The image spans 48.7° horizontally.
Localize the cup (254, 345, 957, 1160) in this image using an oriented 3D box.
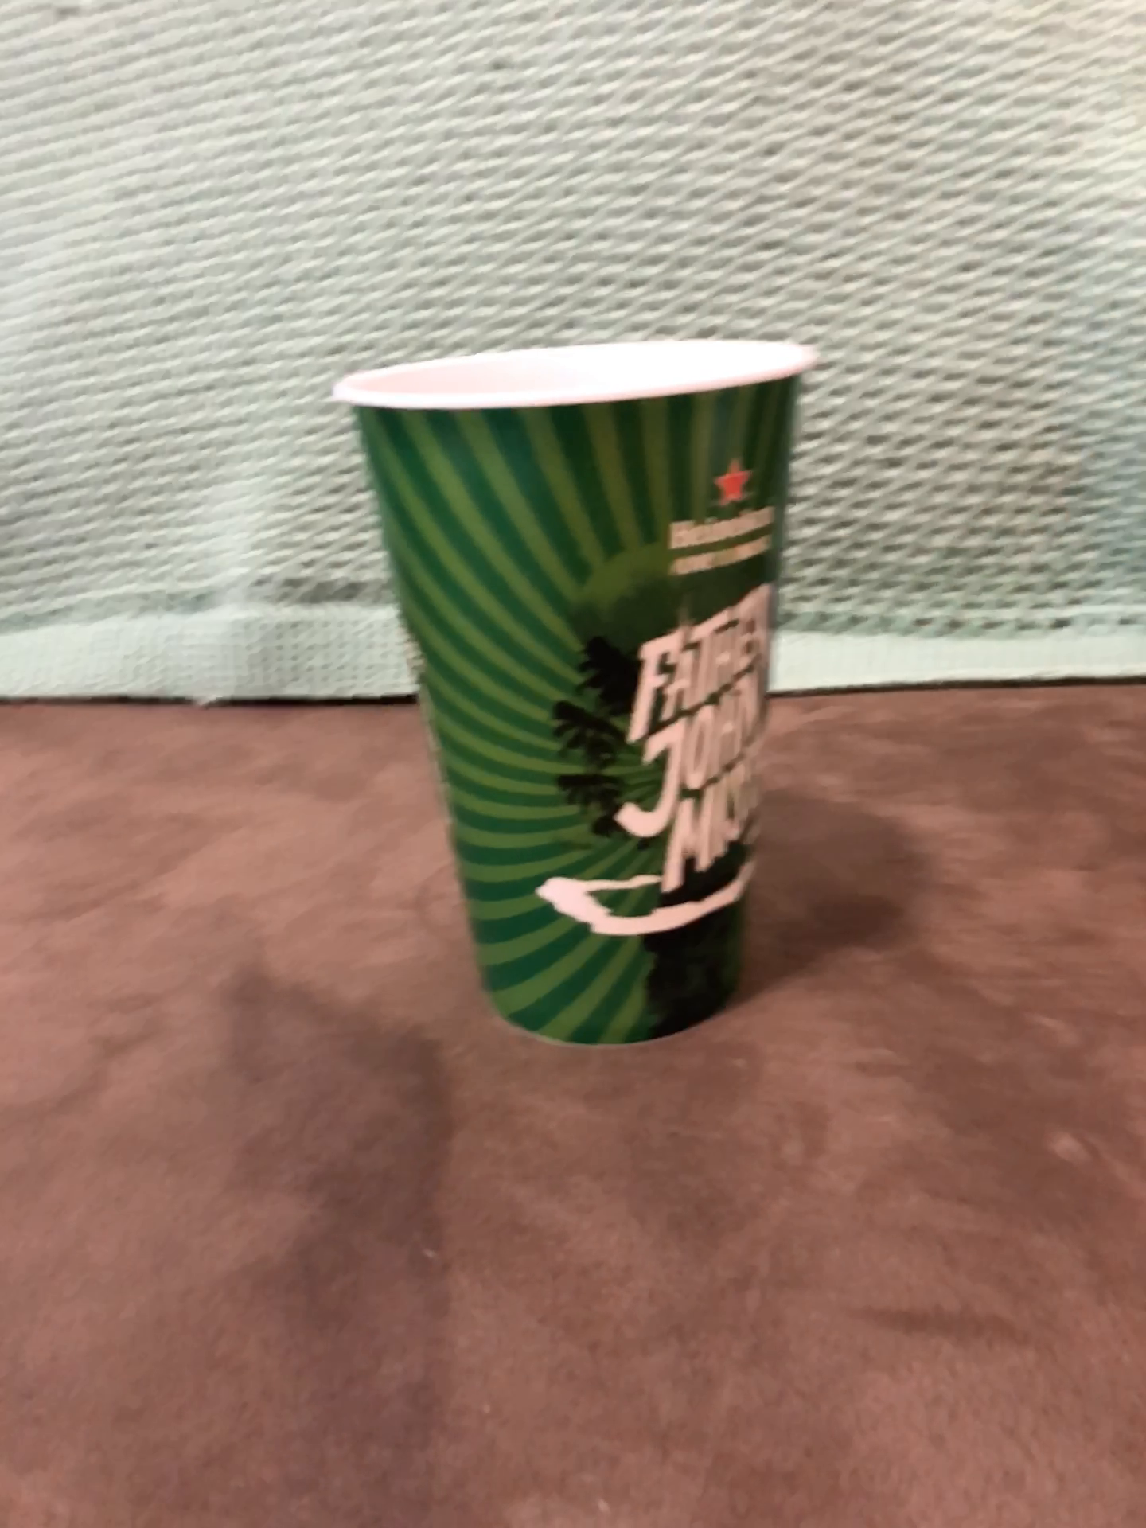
[{"bbox_3d":[0.004,-0.015,0.267,0.100,0.129,0.100,-3,21,1],"label":"cup"}]
